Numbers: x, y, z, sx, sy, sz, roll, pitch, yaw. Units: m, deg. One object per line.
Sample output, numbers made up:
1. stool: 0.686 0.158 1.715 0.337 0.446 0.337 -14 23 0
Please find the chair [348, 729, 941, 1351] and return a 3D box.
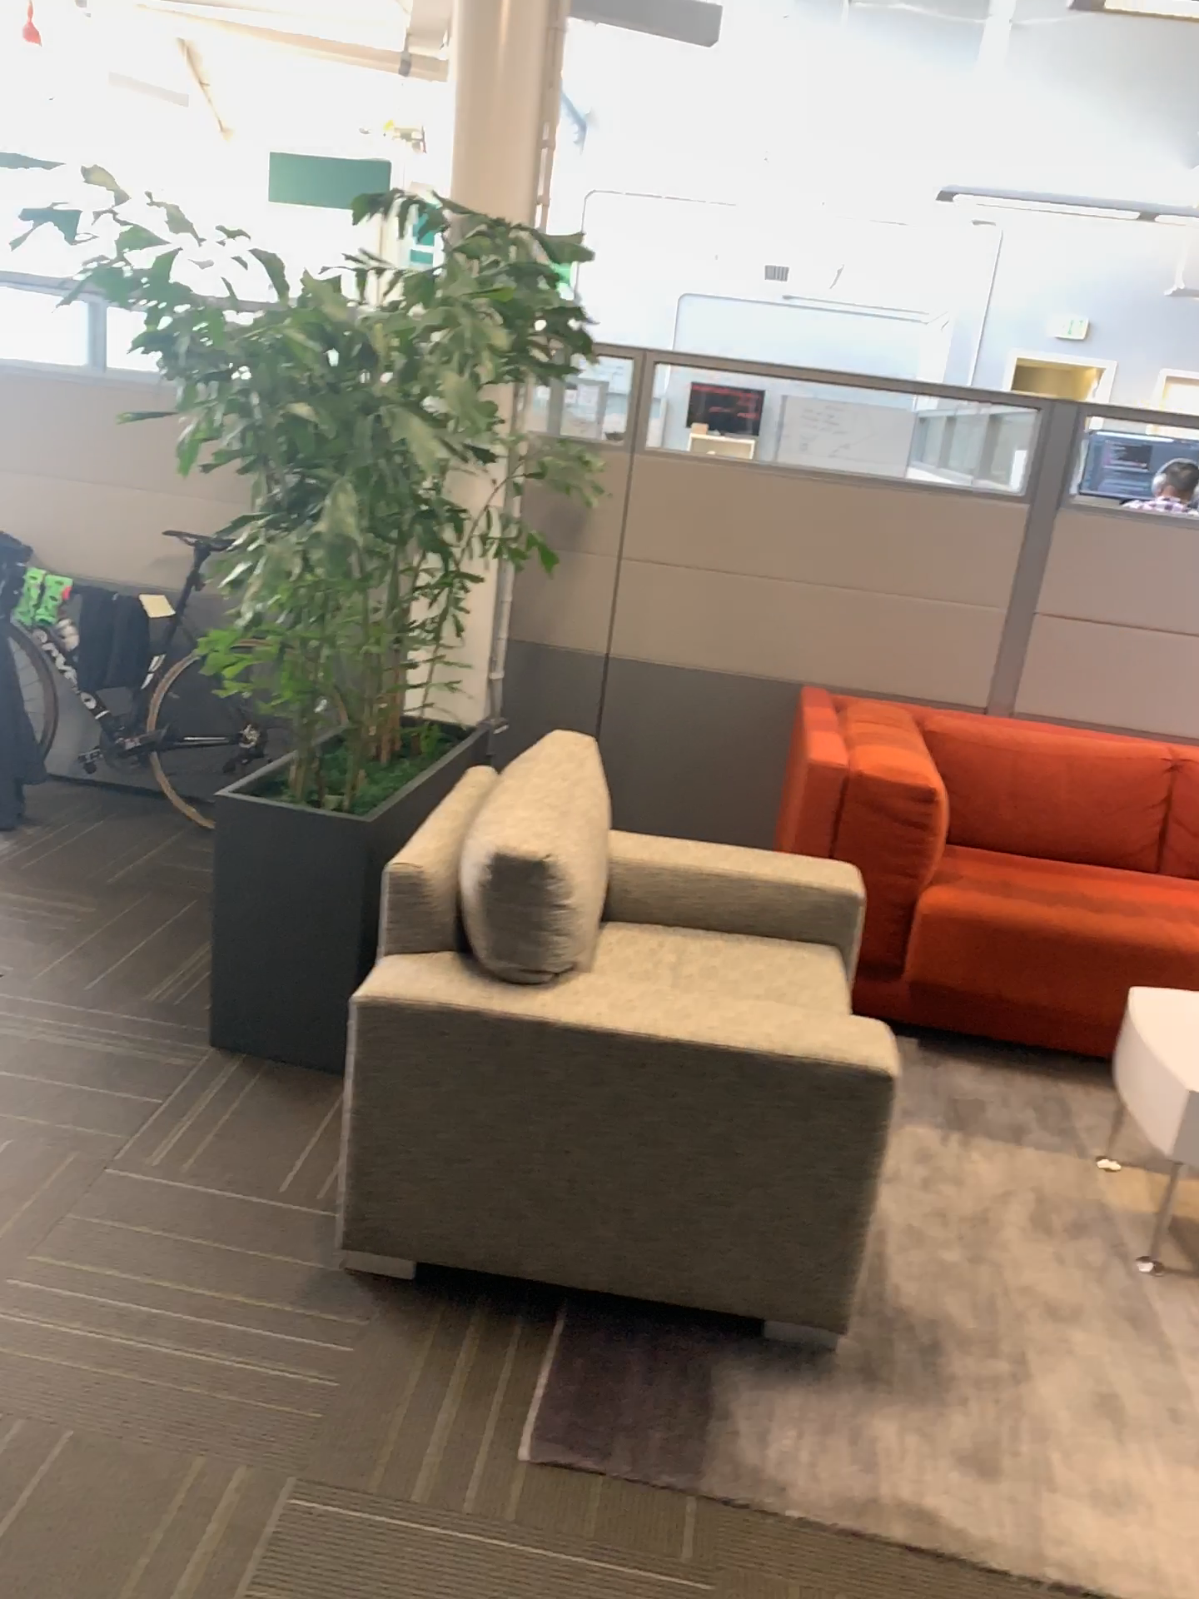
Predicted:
1. chair: 0.086 0.384 2.421 0.870 0.727 0.924 8 17 3
